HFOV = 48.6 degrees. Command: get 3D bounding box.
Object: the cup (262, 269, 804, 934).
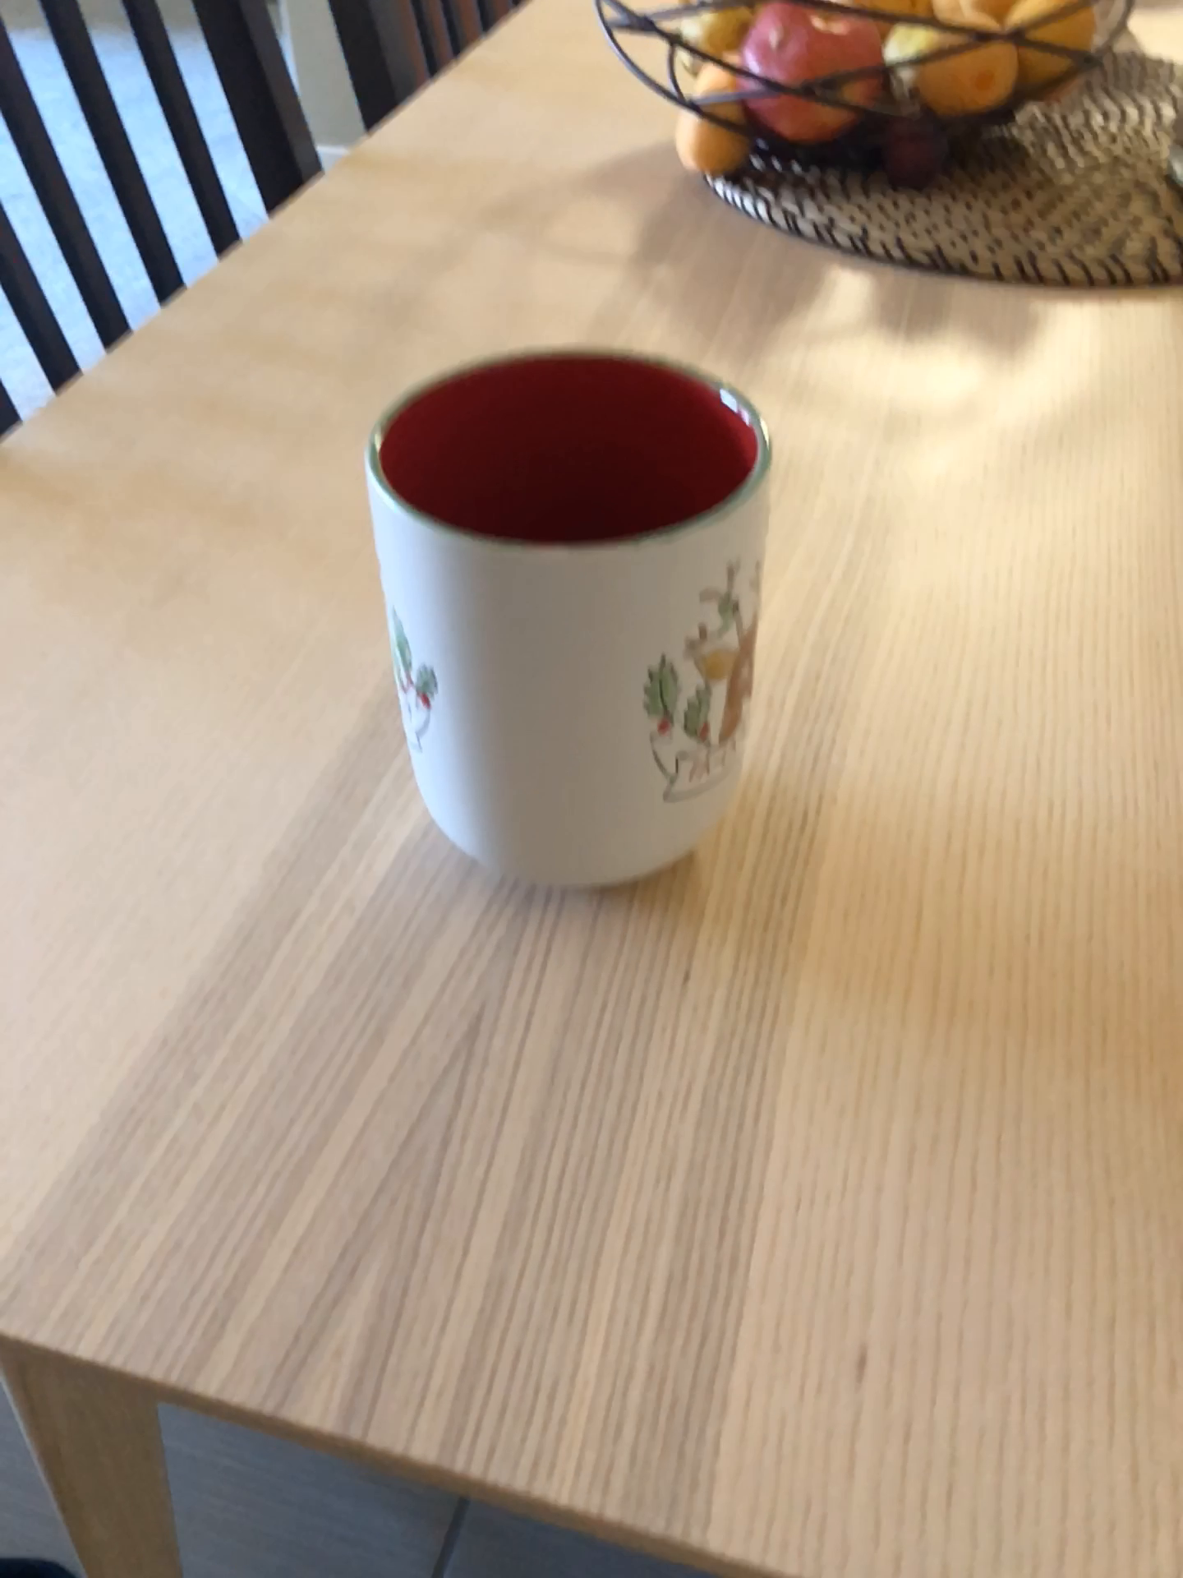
[{"bbox_3d":[-0.004,-0.054,0.339,0.100,0.100,0.141,6,44,8],"label":"cup"}]
